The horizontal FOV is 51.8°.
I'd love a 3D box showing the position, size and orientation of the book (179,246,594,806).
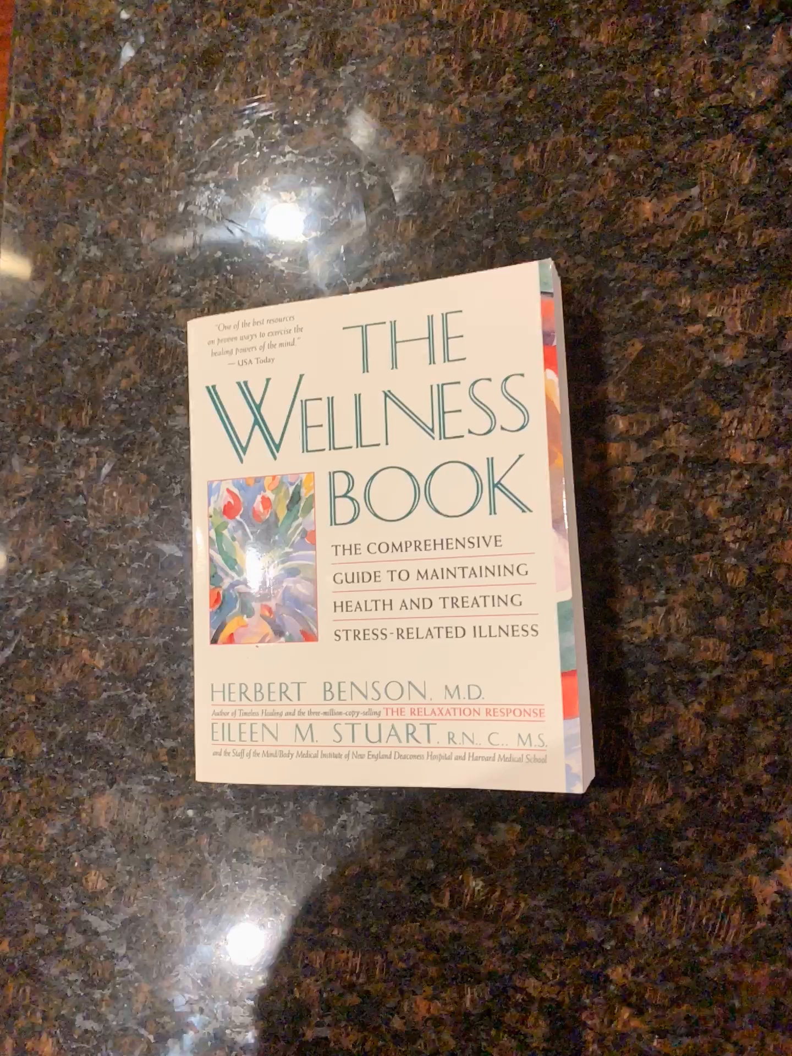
[{"bbox_3d":[-0.007,0.004,0.403,0.188,0.060,0.240,-4,84,17],"label":"book"}]
